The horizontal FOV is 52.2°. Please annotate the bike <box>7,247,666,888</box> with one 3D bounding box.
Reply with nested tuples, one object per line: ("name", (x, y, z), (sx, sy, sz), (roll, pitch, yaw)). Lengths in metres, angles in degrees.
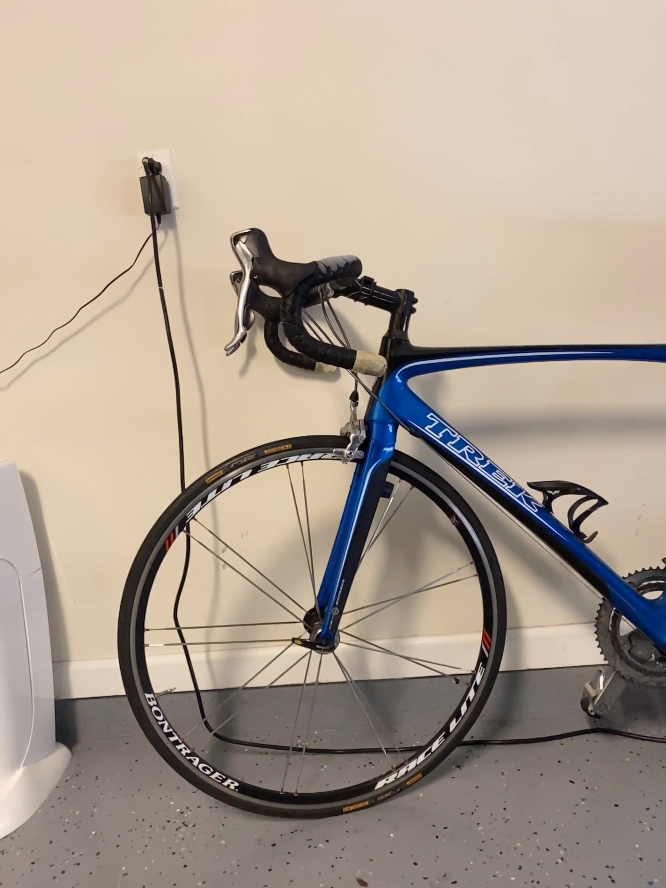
("bike", (0.523, 0.185, 1.034), (1.638, 0.884, 0.401), (-3, 7, -6))
